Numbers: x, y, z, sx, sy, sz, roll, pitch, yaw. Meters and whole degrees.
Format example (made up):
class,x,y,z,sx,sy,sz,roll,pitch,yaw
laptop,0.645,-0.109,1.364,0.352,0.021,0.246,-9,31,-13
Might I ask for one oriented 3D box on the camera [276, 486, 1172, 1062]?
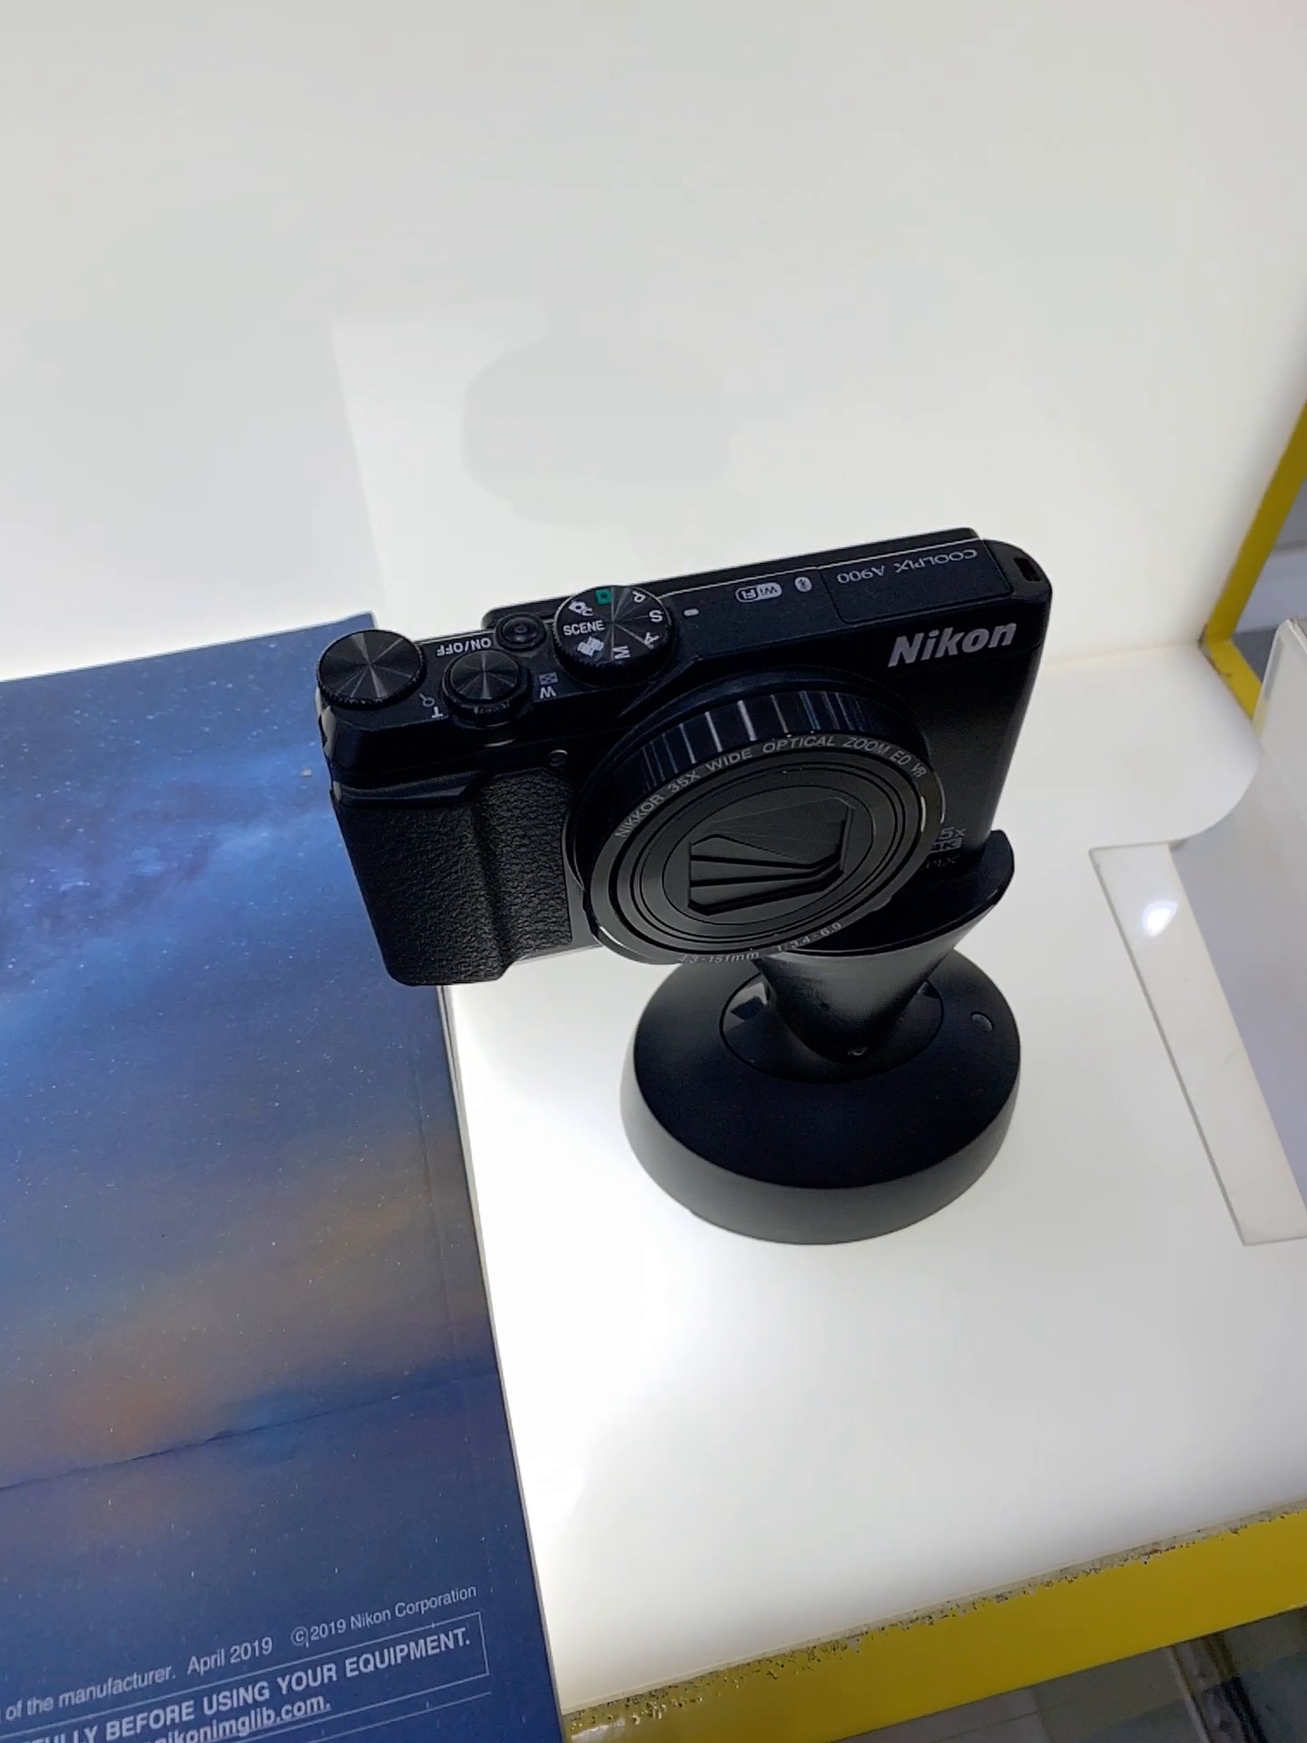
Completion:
class,x,y,z,sx,sy,sz,roll,pitch,yaw
camera,0.009,-0.015,0.215,0.120,0.060,0.040,-12,54,-10
